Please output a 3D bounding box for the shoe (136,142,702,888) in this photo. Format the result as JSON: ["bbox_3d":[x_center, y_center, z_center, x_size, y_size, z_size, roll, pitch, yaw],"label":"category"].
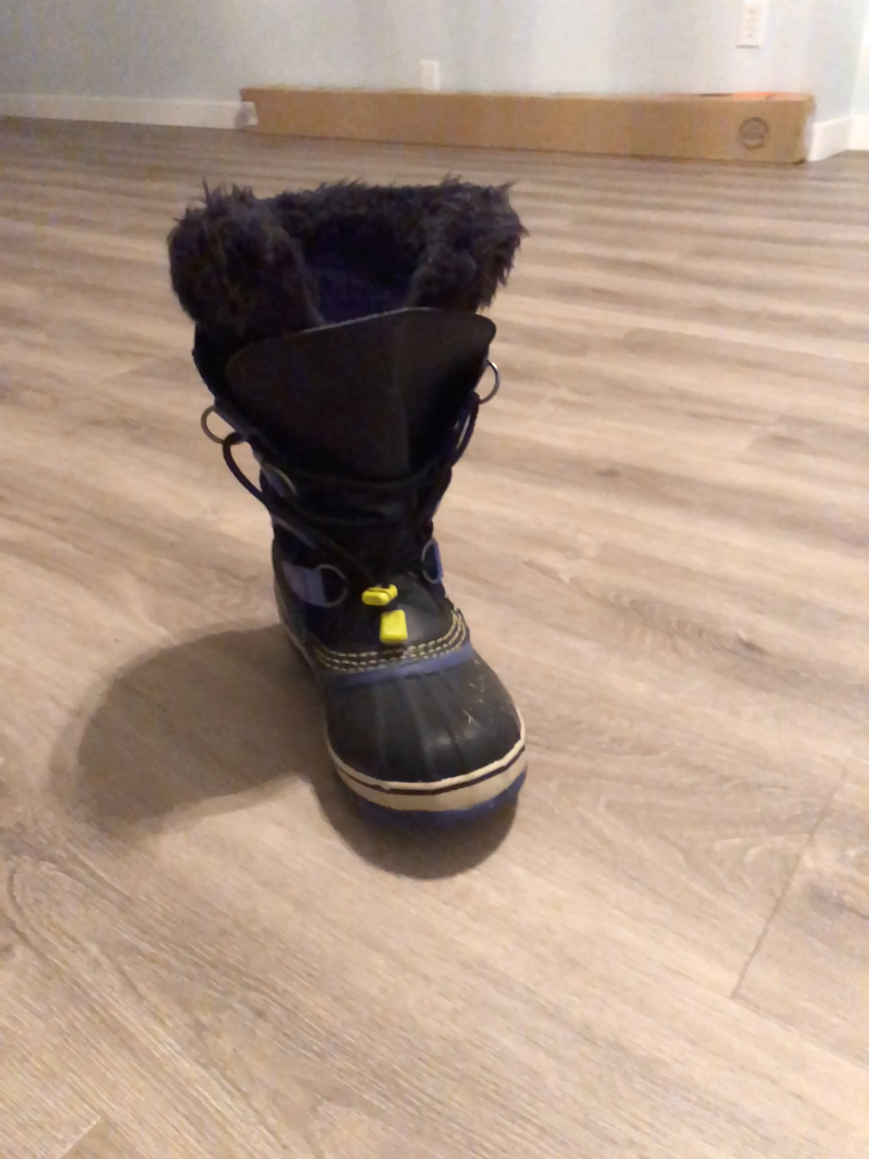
[{"bbox_3d":[-0.025,-0.055,0.477,0.170,0.269,0.241,-11,31,-17],"label":"shoe"}]
